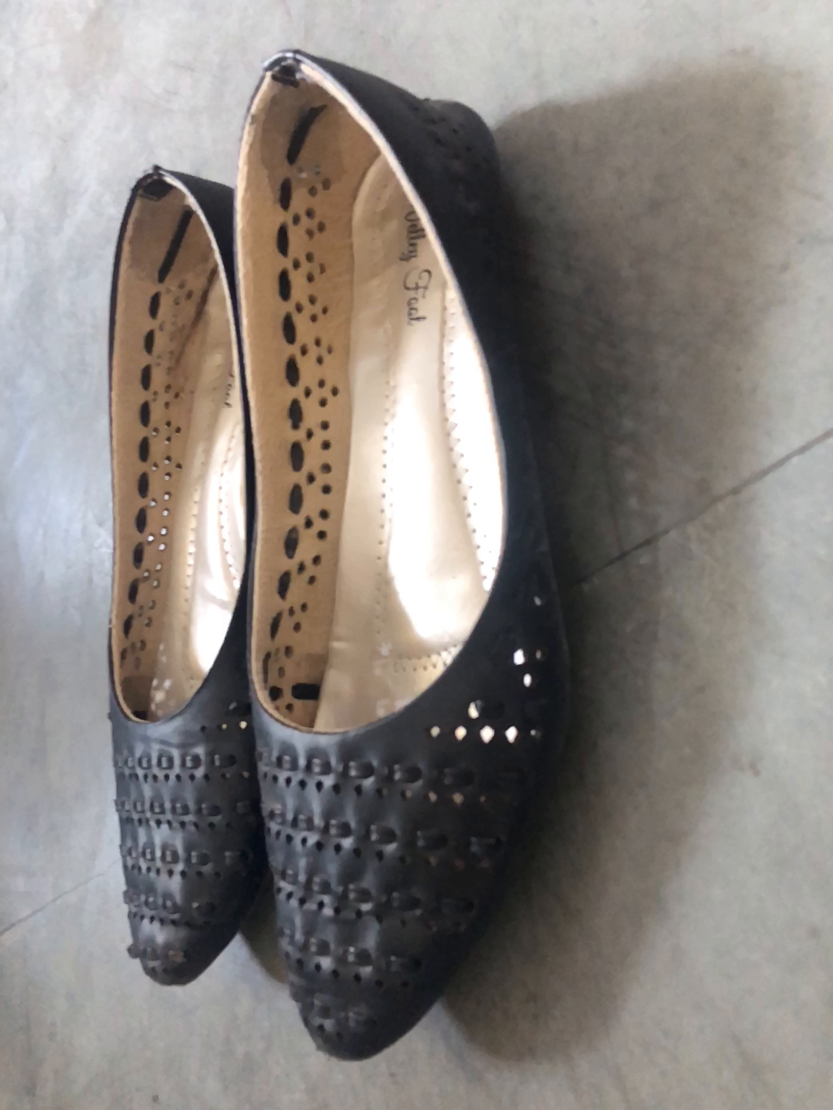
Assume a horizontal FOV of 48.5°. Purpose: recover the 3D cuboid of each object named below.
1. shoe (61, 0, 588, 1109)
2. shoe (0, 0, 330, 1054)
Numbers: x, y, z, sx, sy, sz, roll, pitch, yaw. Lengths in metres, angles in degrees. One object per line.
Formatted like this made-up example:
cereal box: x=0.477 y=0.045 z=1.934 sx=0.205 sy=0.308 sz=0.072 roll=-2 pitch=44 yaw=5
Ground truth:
shoe: x=-0.019 y=-0.026 z=0.239 sx=0.101 sy=0.070 sz=0.280 roll=-9 pitch=74 yaw=44
shoe: x=-0.087 y=-0.012 z=0.287 sx=0.101 sy=0.070 sz=0.270 roll=-9 pitch=79 yaw=44
